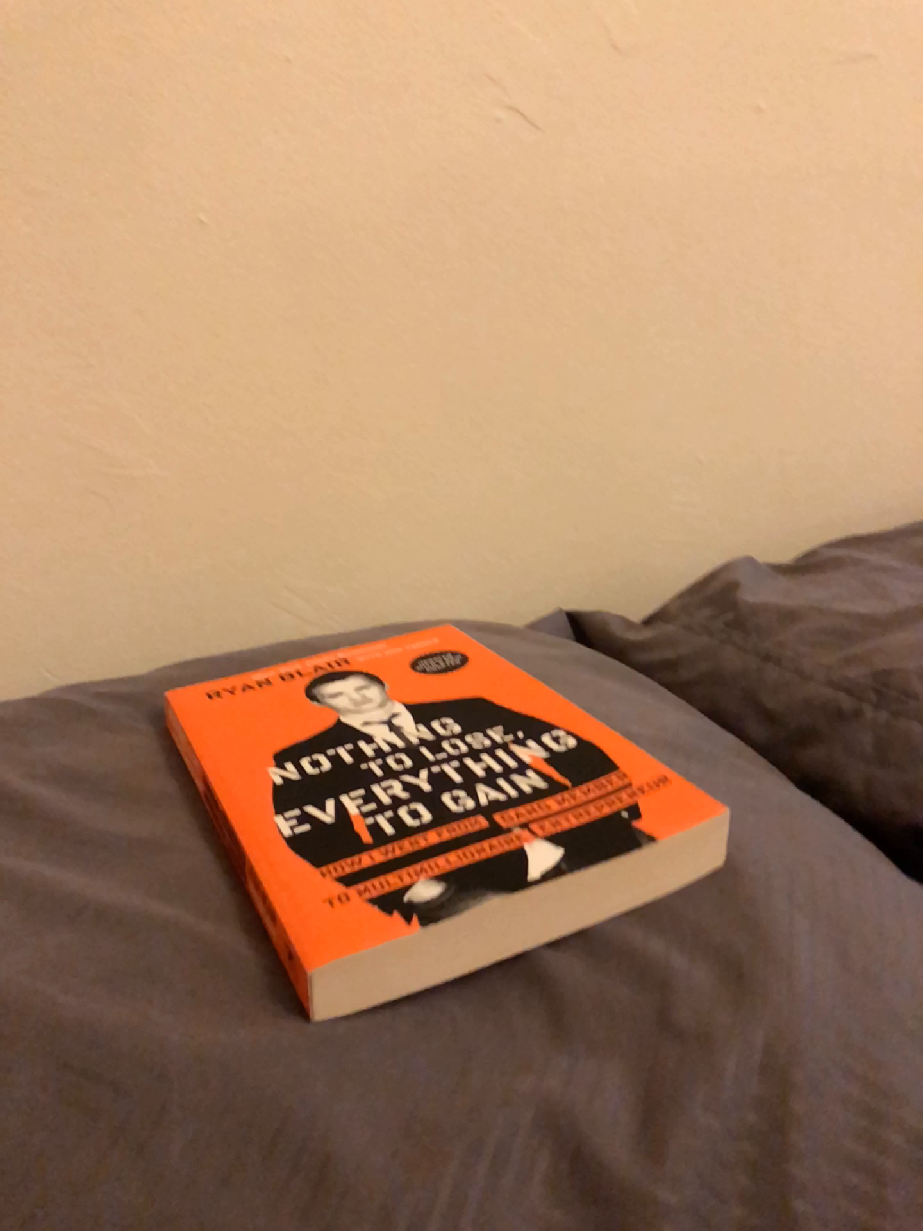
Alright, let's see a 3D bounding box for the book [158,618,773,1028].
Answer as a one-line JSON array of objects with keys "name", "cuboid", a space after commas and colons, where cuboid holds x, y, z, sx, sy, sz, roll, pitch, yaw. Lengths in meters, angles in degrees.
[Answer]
[{"name": "book", "cuboid": [-0.019, 0.054, 0.390, 0.150, 0.020, 0.231, -10, 20, -24]}]
